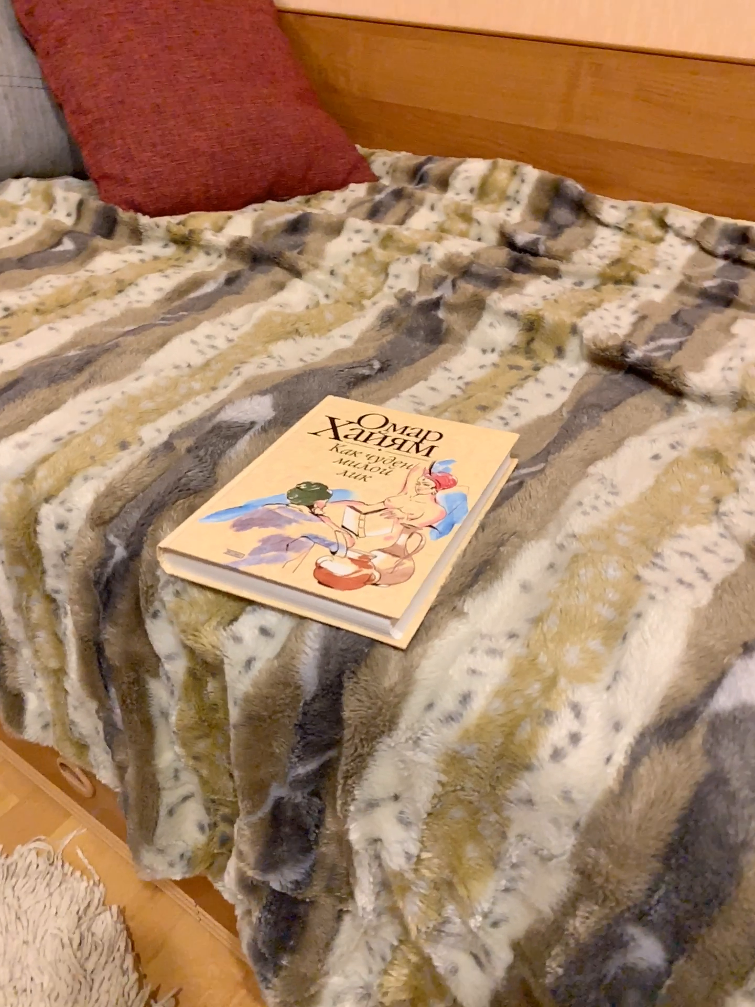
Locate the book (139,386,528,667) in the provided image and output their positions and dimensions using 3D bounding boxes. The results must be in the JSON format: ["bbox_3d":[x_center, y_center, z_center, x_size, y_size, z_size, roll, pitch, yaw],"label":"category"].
[{"bbox_3d":[-0.017,-0.004,0.516,0.170,0.030,0.222,14,39,24],"label":"book"}]
